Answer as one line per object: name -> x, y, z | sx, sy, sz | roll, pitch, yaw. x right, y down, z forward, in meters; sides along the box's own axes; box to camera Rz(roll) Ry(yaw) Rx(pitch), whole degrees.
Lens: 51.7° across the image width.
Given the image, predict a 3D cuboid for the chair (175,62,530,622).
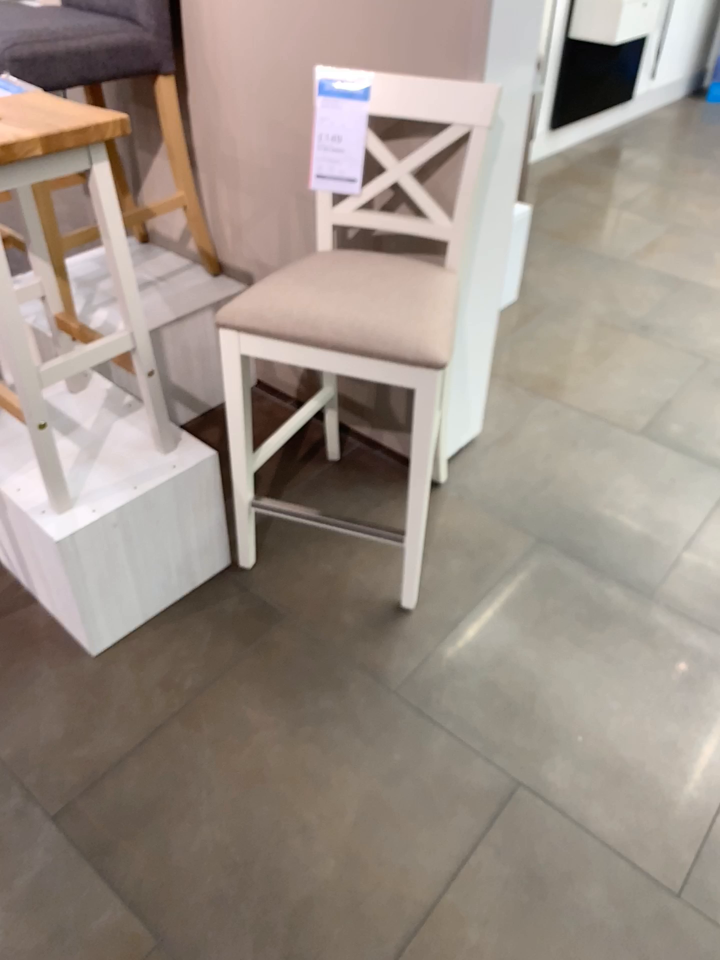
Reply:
chair -> 0.013, -0.272, 1.543 | 0.449, 0.938, 0.542 | 13, 40, 13
